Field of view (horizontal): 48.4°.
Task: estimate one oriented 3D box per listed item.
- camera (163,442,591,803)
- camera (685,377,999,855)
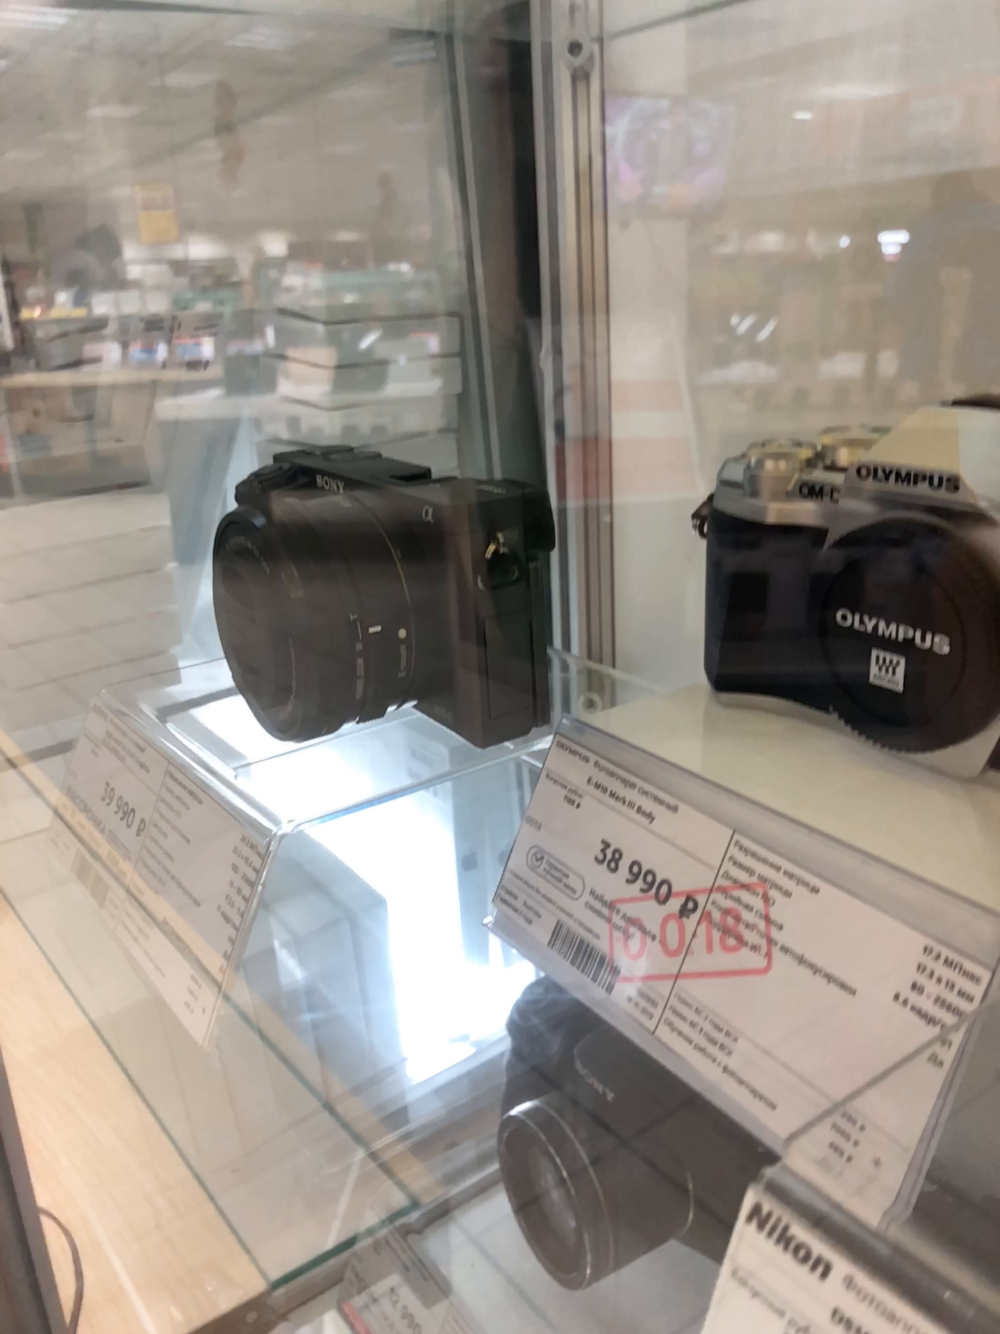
[{"bbox_3d":[-0.041,-0.023,0.328,0.066,0.070,0.130,-15,21,-31],"label":"camera"},{"bbox_3d":[0.121,-0.025,0.279,0.087,0.081,0.123,-15,21,-31],"label":"camera"}]
